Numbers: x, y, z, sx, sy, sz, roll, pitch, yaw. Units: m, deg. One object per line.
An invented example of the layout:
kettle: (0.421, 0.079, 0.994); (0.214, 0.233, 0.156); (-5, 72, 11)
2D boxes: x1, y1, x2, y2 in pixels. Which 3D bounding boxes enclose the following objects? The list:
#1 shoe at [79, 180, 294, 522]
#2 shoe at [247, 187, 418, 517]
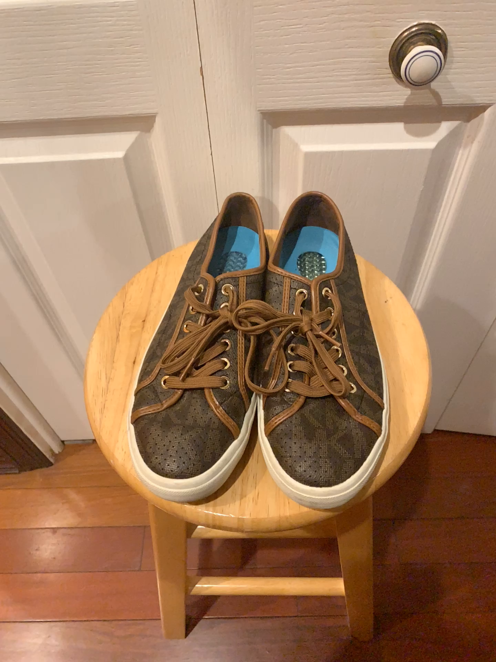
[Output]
shoe: (-0.028, 0.001, 0.411); (0.100, 0.090, 0.261); (6, 55, 8)
shoe: (0.058, 0.002, 0.408); (0.100, 0.080, 0.261); (1, 54, 4)
